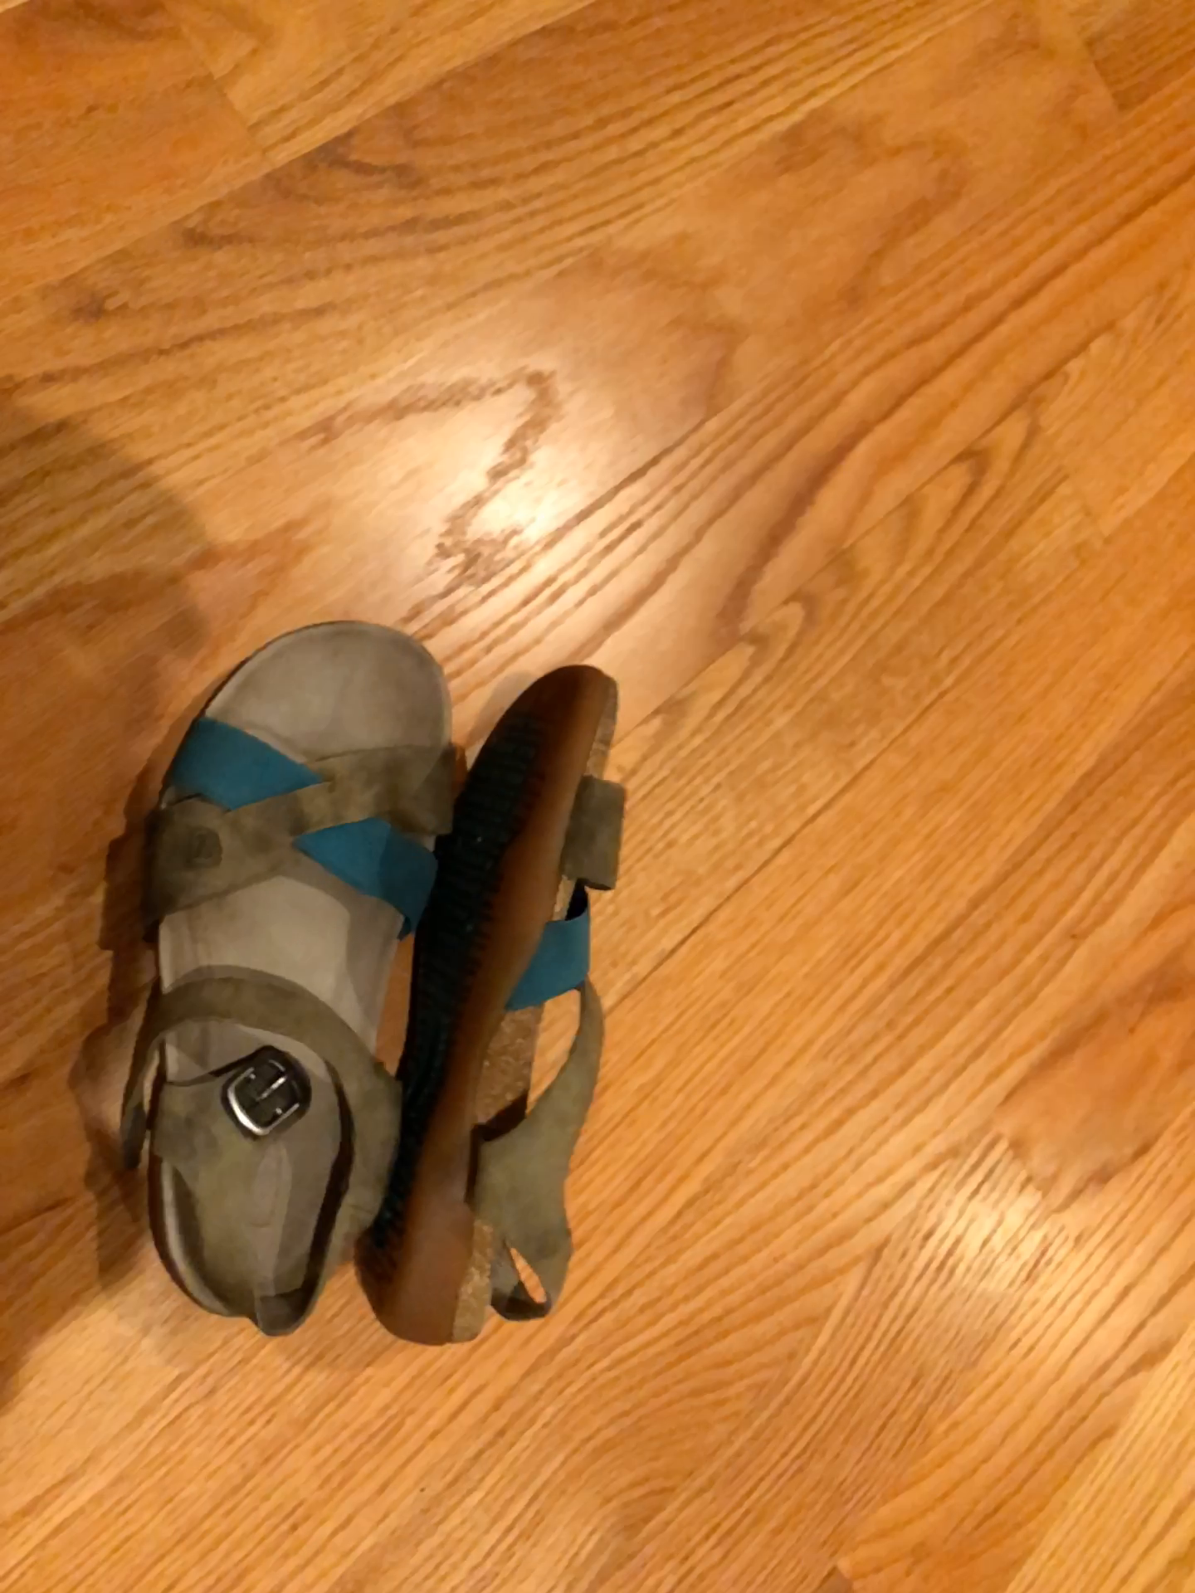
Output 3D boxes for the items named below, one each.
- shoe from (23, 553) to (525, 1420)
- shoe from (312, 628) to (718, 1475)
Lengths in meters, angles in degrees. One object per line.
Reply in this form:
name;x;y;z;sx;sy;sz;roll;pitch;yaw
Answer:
shoe;-0.102;0.059;0.423;0.104;0.075;0.240;12;81;-25
shoe;-0.029;0.076;0.435;0.065;0.104;0.238;11;81;-25
